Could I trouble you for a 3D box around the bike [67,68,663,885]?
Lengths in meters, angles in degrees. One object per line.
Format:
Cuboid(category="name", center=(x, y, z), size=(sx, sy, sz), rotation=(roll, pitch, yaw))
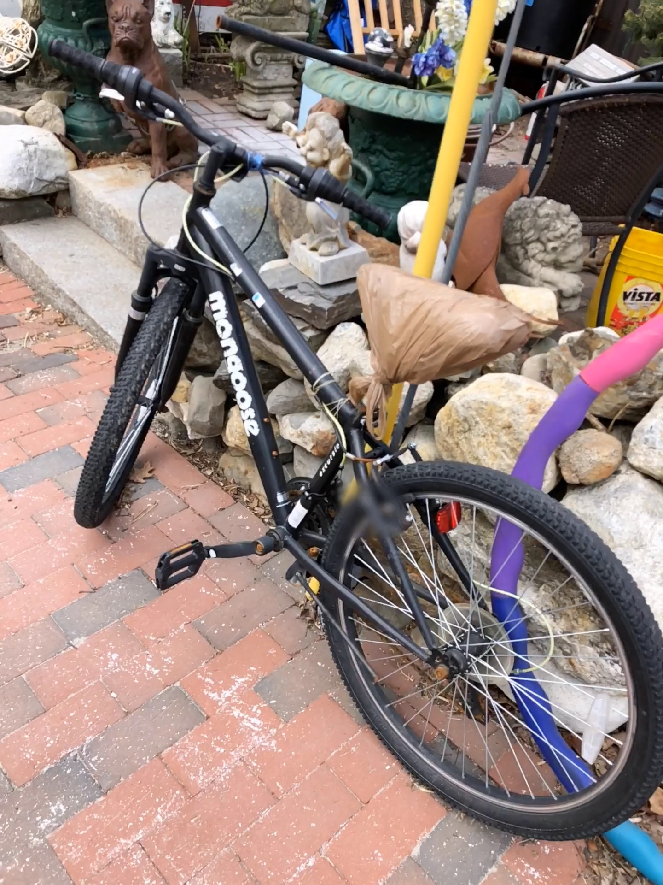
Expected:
Cuboid(category="bike", center=(0.078, -0.051, 1.349), size=(0.635, 0.872, 1.413), rotation=(-19, 46, -33))
